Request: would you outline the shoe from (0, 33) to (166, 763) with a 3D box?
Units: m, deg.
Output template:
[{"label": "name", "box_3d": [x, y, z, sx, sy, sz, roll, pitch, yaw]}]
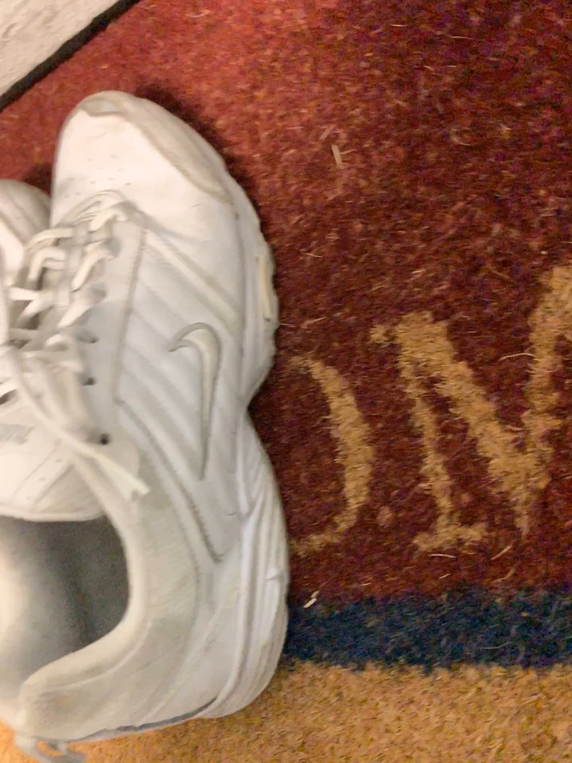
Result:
[{"label": "shoe", "box_3d": [-0.164, 0.019, 0.300, 0.110, 0.129, 0.301, -15, 78, 32]}]

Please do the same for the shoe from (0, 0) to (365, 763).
[{"label": "shoe", "box_3d": [-0.076, -0.006, 0.242, 0.121, 0.129, 0.301, -15, 78, 32]}]
